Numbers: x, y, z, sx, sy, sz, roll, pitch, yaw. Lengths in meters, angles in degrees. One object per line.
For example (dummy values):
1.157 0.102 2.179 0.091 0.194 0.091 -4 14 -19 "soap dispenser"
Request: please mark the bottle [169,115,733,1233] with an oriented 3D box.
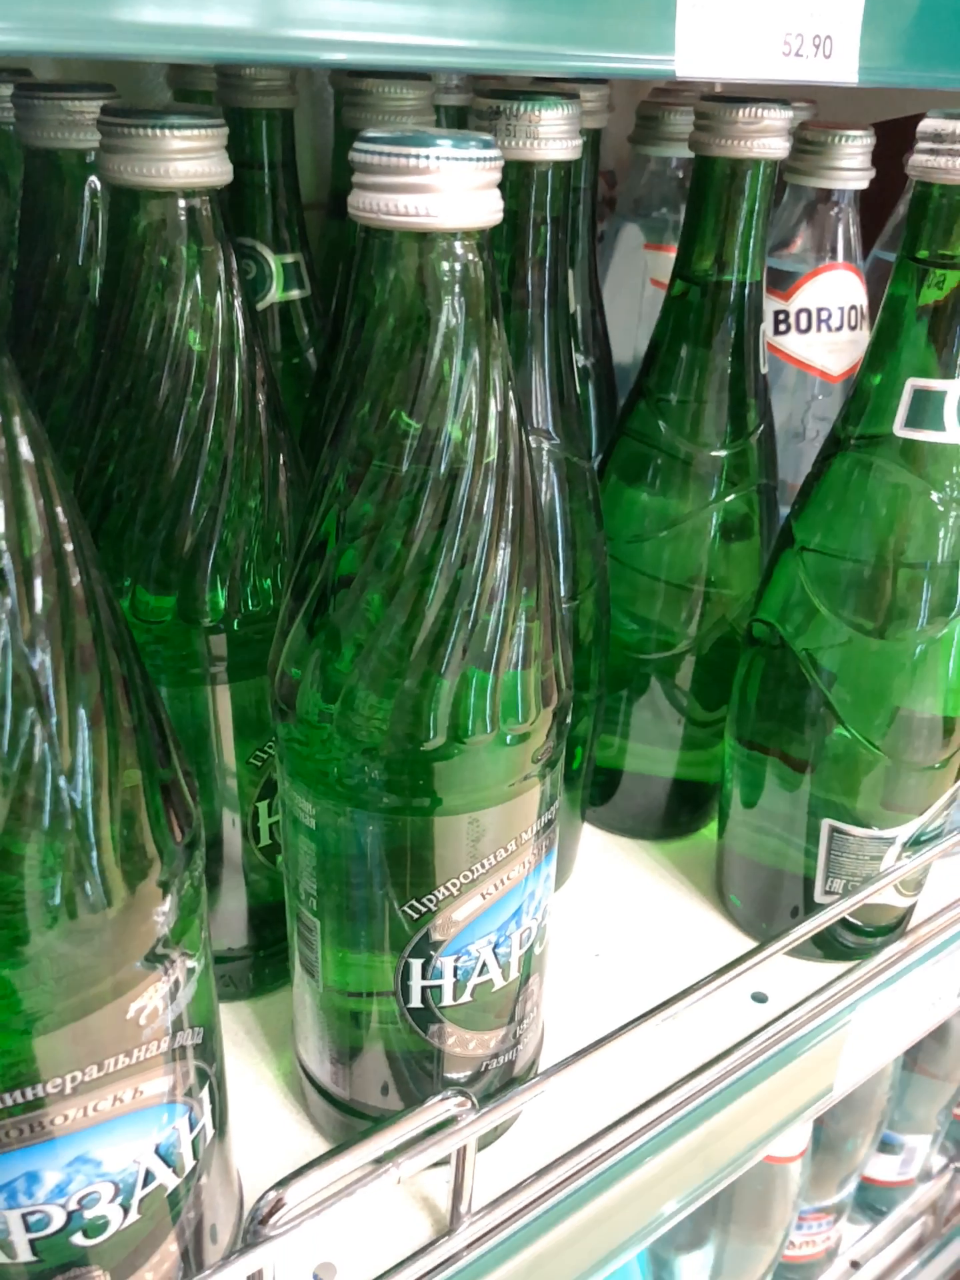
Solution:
-0.009 0.015 0.245 0.080 0.240 0.060 -19 35 -35 "bottle"
